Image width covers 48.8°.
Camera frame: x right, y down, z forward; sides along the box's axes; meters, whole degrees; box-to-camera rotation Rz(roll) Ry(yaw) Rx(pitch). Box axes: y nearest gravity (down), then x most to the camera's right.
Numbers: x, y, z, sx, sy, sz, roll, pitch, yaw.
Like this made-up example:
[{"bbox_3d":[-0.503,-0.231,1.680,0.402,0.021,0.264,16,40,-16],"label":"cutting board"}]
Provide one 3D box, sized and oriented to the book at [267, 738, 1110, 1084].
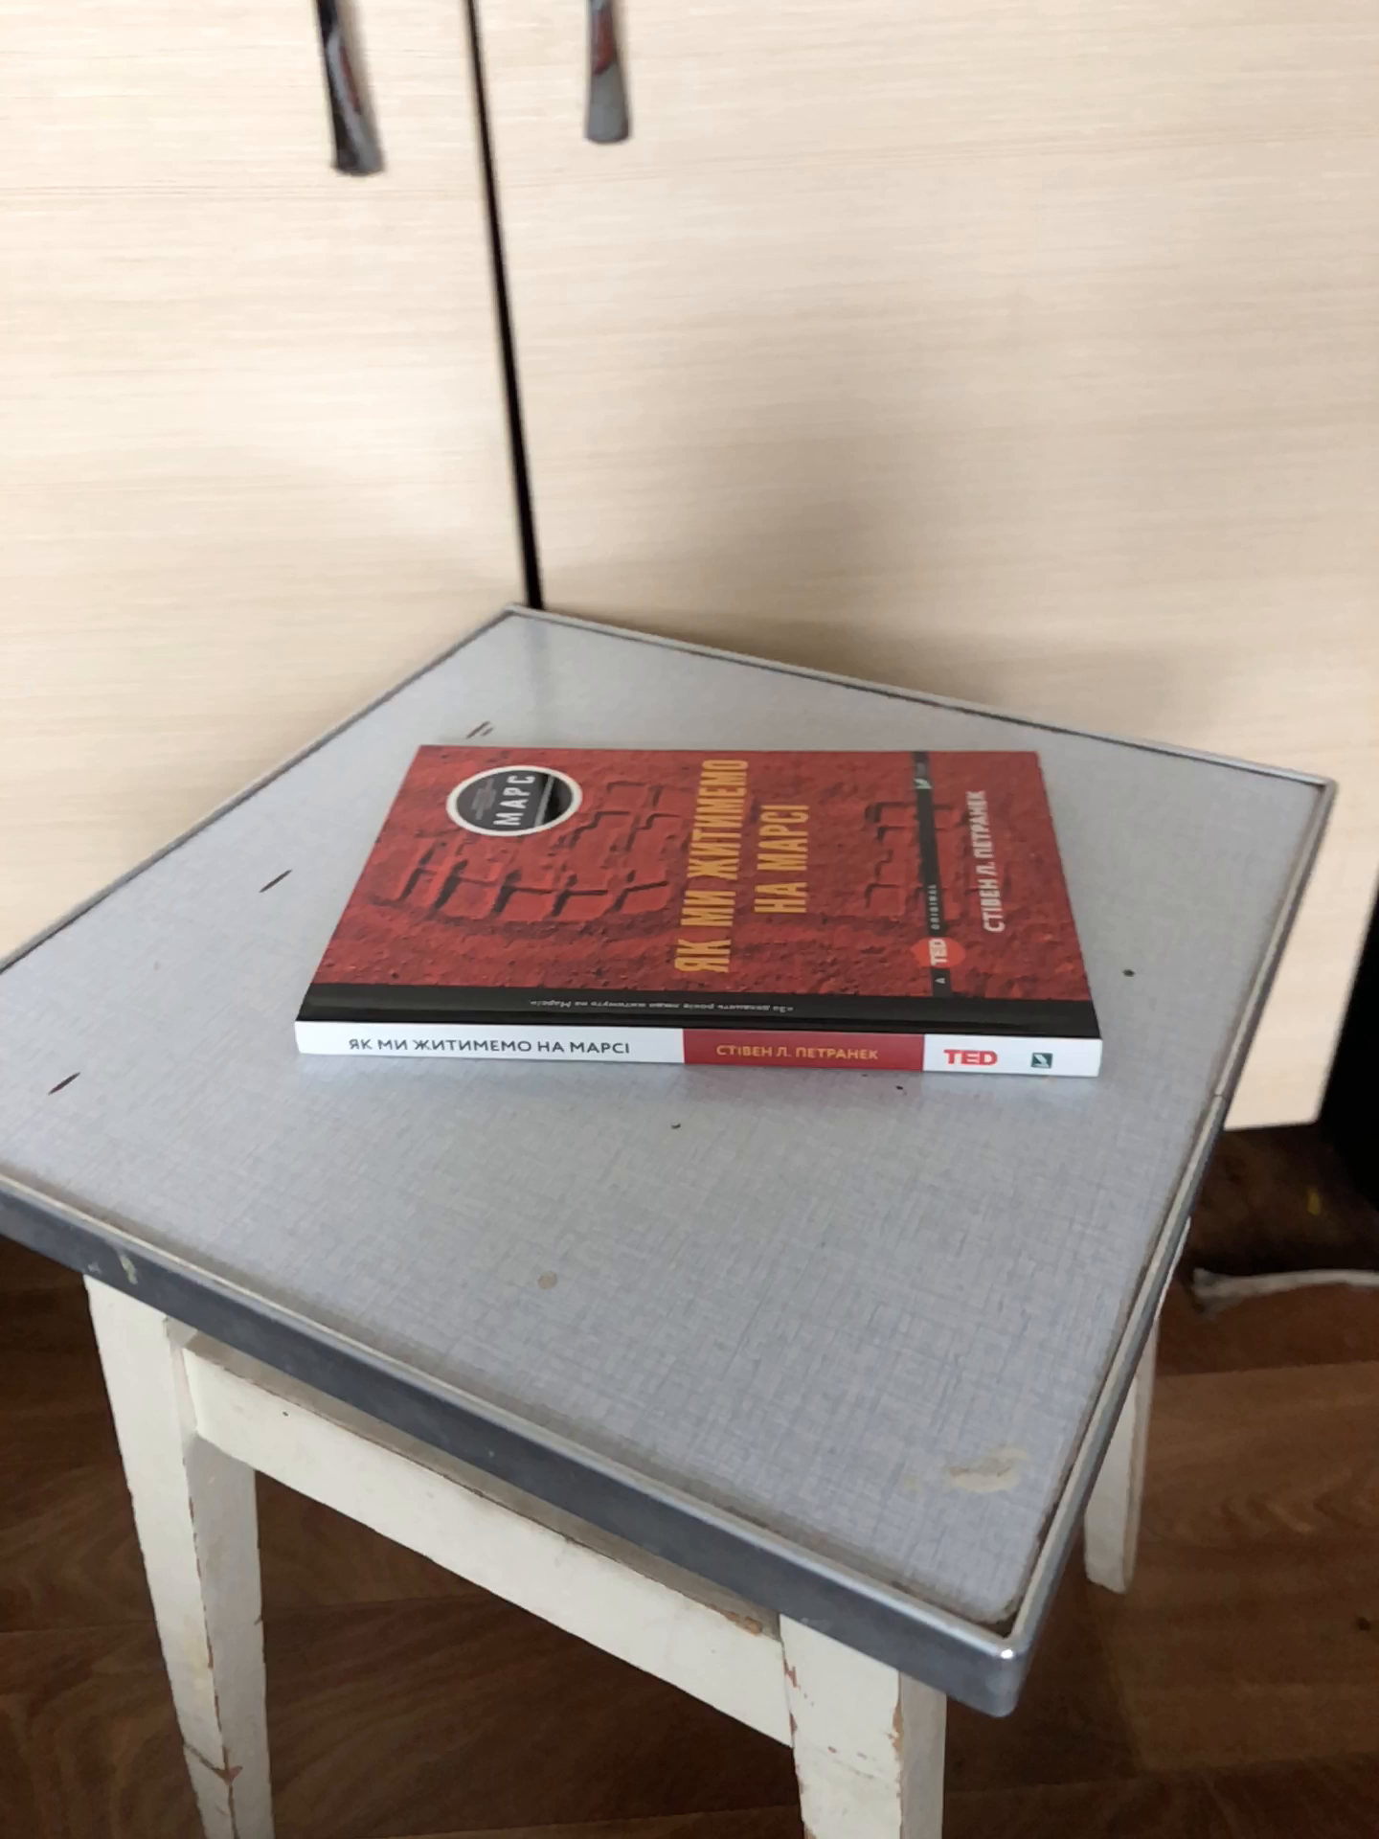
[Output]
[{"bbox_3d":[0.003,-0.010,0.447,0.213,0.015,0.147,1,36,5],"label":"book"}]
